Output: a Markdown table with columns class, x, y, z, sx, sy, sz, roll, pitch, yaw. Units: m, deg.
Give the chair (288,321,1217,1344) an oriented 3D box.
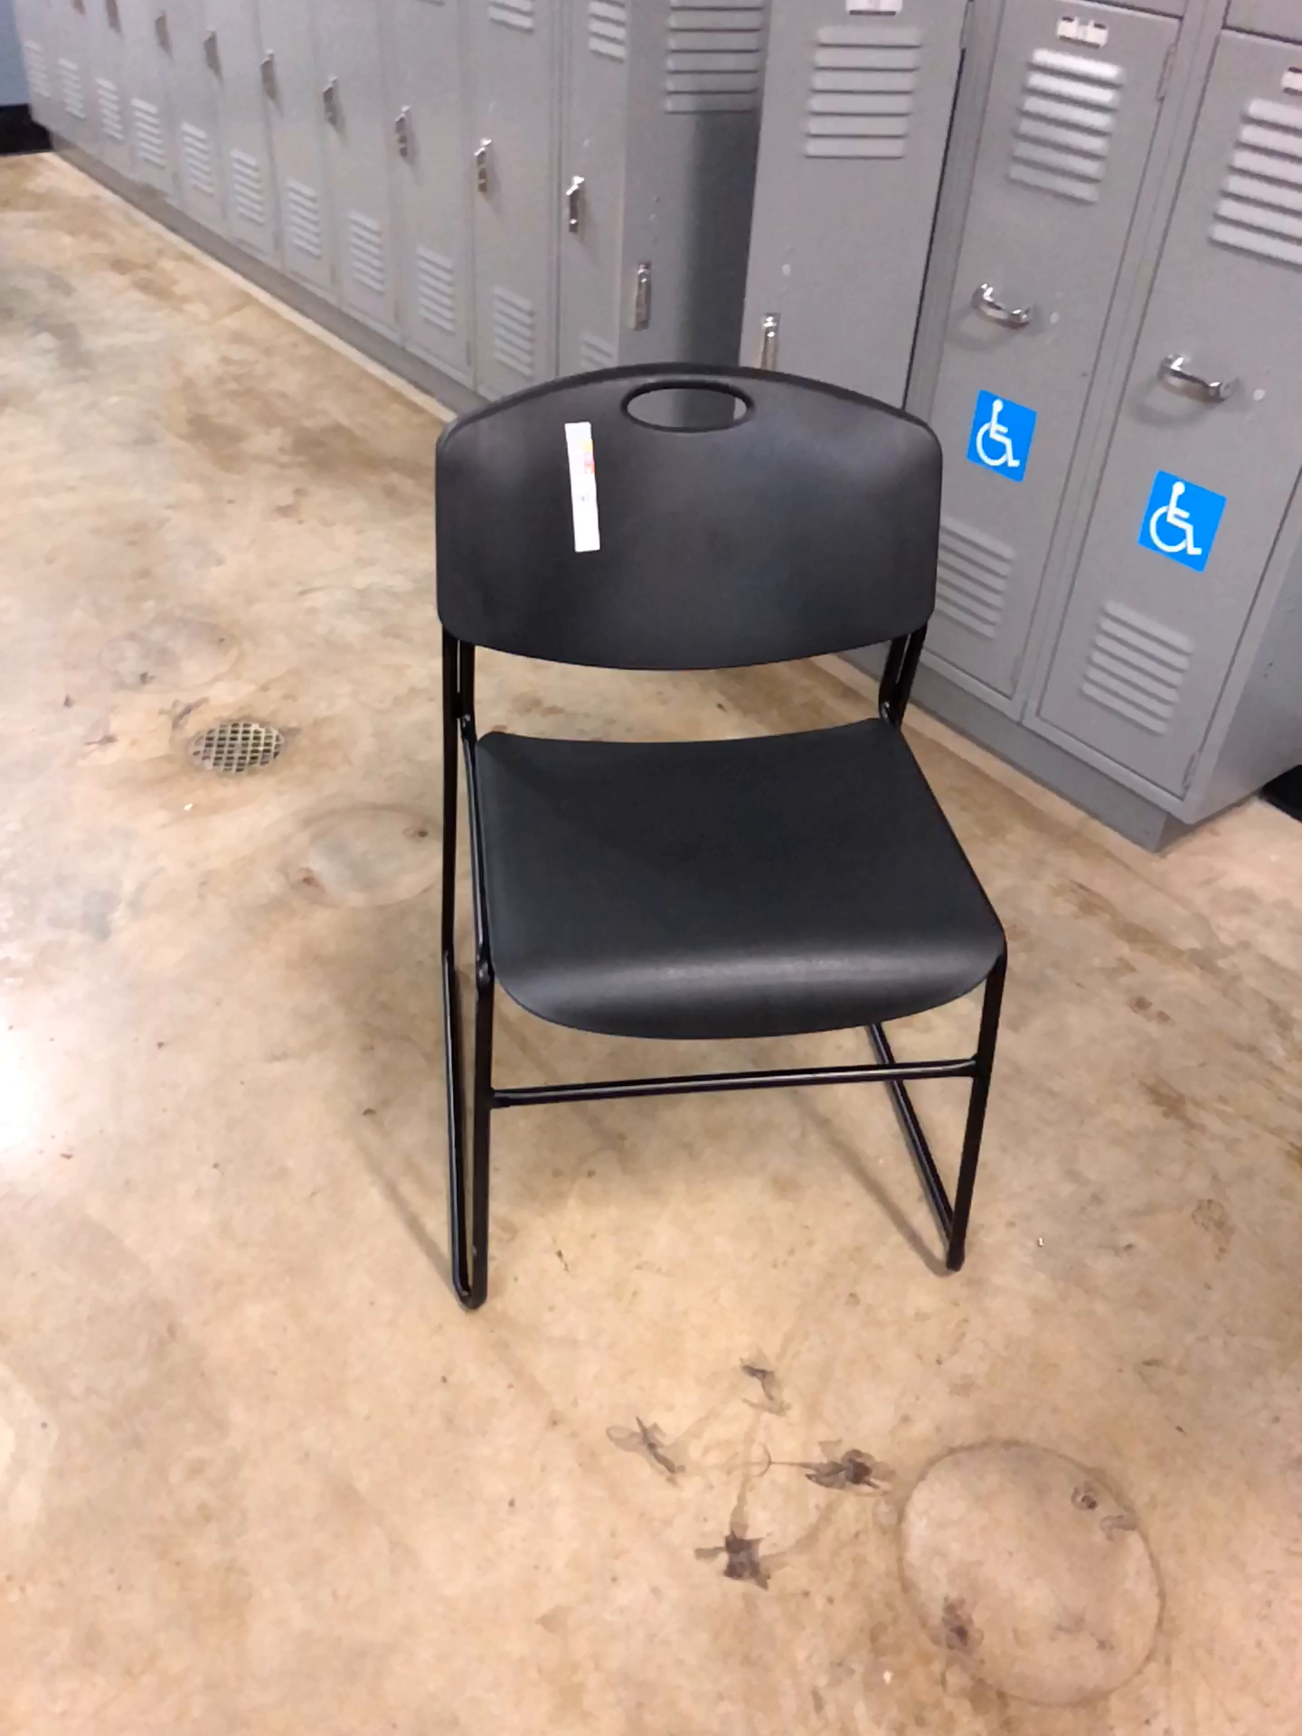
| class | x | y | z | sx | sy | sz | roll | pitch | yaw |
| --- | --- | --- | --- | --- | --- | --- | --- | --- | --- |
| chair | 0.017 | -0.041 | 1.240 | 0.544 | 0.665 | 0.549 | -2 | 40 | -8 |
